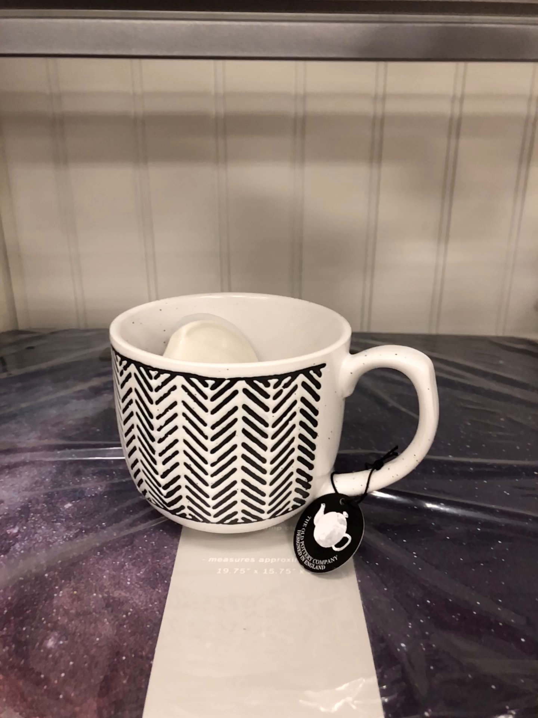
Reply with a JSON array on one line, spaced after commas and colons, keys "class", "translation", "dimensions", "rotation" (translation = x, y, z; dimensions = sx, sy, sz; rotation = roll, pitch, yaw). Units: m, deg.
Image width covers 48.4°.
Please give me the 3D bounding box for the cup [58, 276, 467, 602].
[{"class": "cup", "translation": [0.003, 0.021, 0.253], "dimensions": [0.140, 0.079, 0.091], "rotation": [8, 23, 19]}]
